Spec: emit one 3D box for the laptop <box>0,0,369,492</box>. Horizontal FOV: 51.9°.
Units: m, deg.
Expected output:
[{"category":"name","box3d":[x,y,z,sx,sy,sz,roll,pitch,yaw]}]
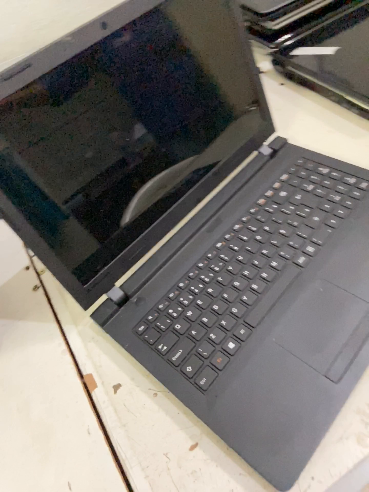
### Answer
[{"category":"laptop","box3d":[0.060,-0.074,0.371,0.338,0.231,0.376,31,64,31]}]
